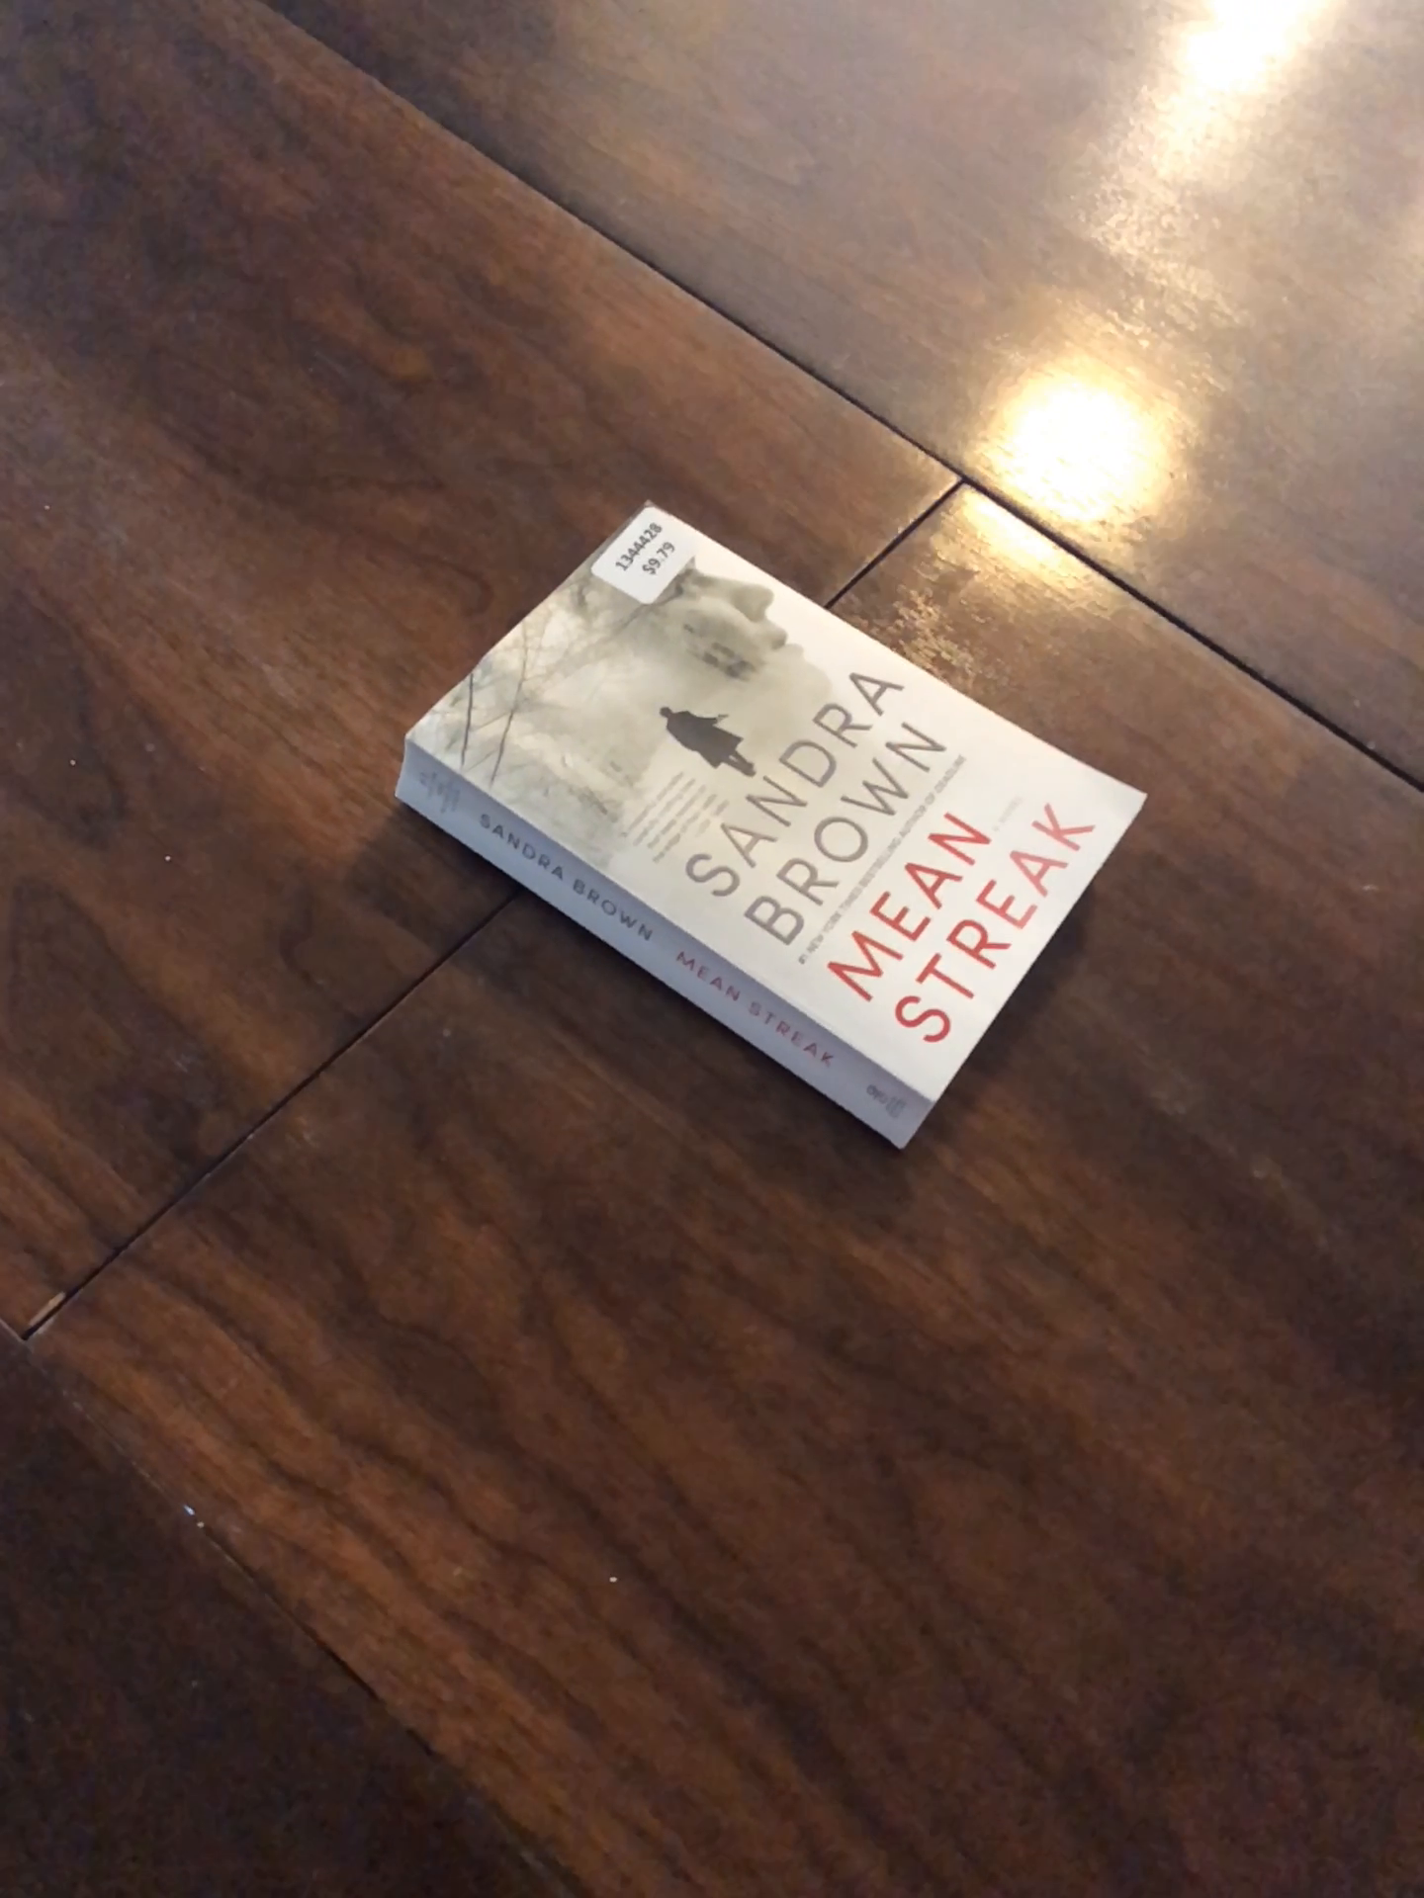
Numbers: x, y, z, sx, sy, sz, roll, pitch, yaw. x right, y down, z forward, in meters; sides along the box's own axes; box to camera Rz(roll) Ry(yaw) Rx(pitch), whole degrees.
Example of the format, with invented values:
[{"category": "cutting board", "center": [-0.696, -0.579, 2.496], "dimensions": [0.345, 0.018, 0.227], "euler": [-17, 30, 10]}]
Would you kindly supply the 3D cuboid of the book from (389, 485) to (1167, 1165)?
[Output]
[{"category": "book", "center": [0.022, -0.048, 0.509], "dimensions": [0.207, 0.030, 0.137], "euler": [35, 64, 10]}]
